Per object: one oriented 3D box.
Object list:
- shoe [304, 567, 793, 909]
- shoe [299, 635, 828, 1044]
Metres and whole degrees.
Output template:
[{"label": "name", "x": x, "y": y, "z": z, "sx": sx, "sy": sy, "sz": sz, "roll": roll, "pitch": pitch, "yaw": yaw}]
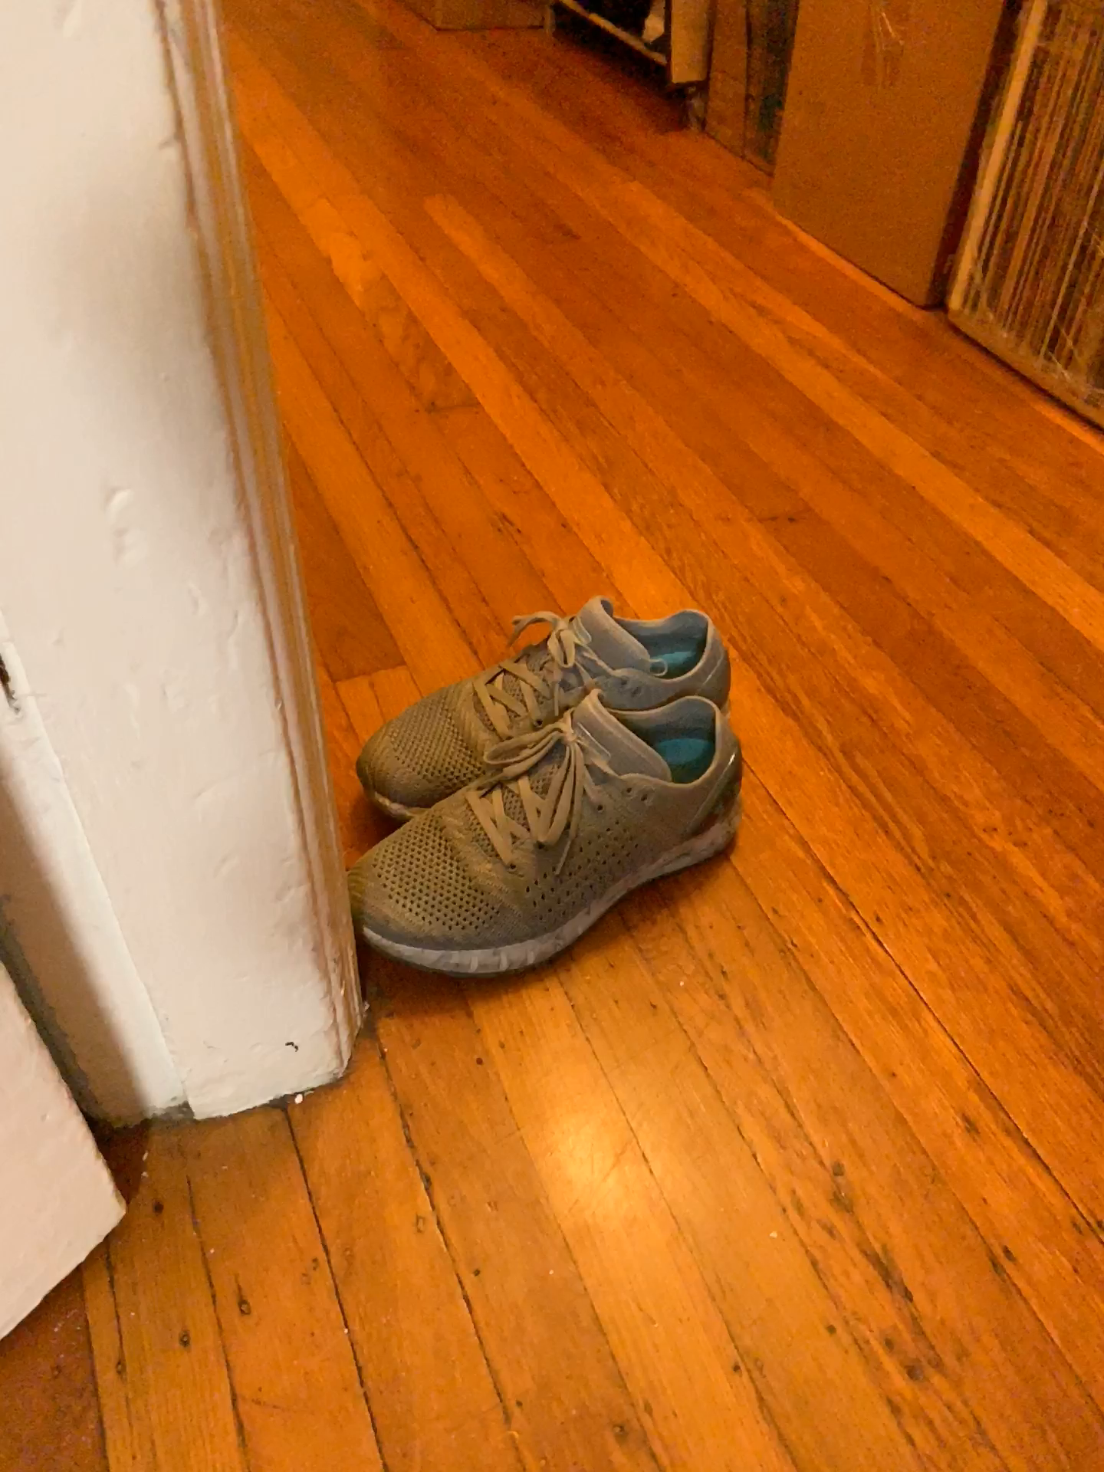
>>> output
[{"label": "shoe", "x": -0.001, "y": -0.006, "z": 0.705, "sx": 0.270, "sy": 0.090, "sz": 0.111, "roll": -18, "pitch": 49, "yaw": -20}, {"label": "shoe", "x": 0.009, "y": 0.047, "z": 0.625, "sx": 0.260, "sy": 0.080, "sz": 0.110, "roll": -22, "pitch": 50, "yaw": -23}]
